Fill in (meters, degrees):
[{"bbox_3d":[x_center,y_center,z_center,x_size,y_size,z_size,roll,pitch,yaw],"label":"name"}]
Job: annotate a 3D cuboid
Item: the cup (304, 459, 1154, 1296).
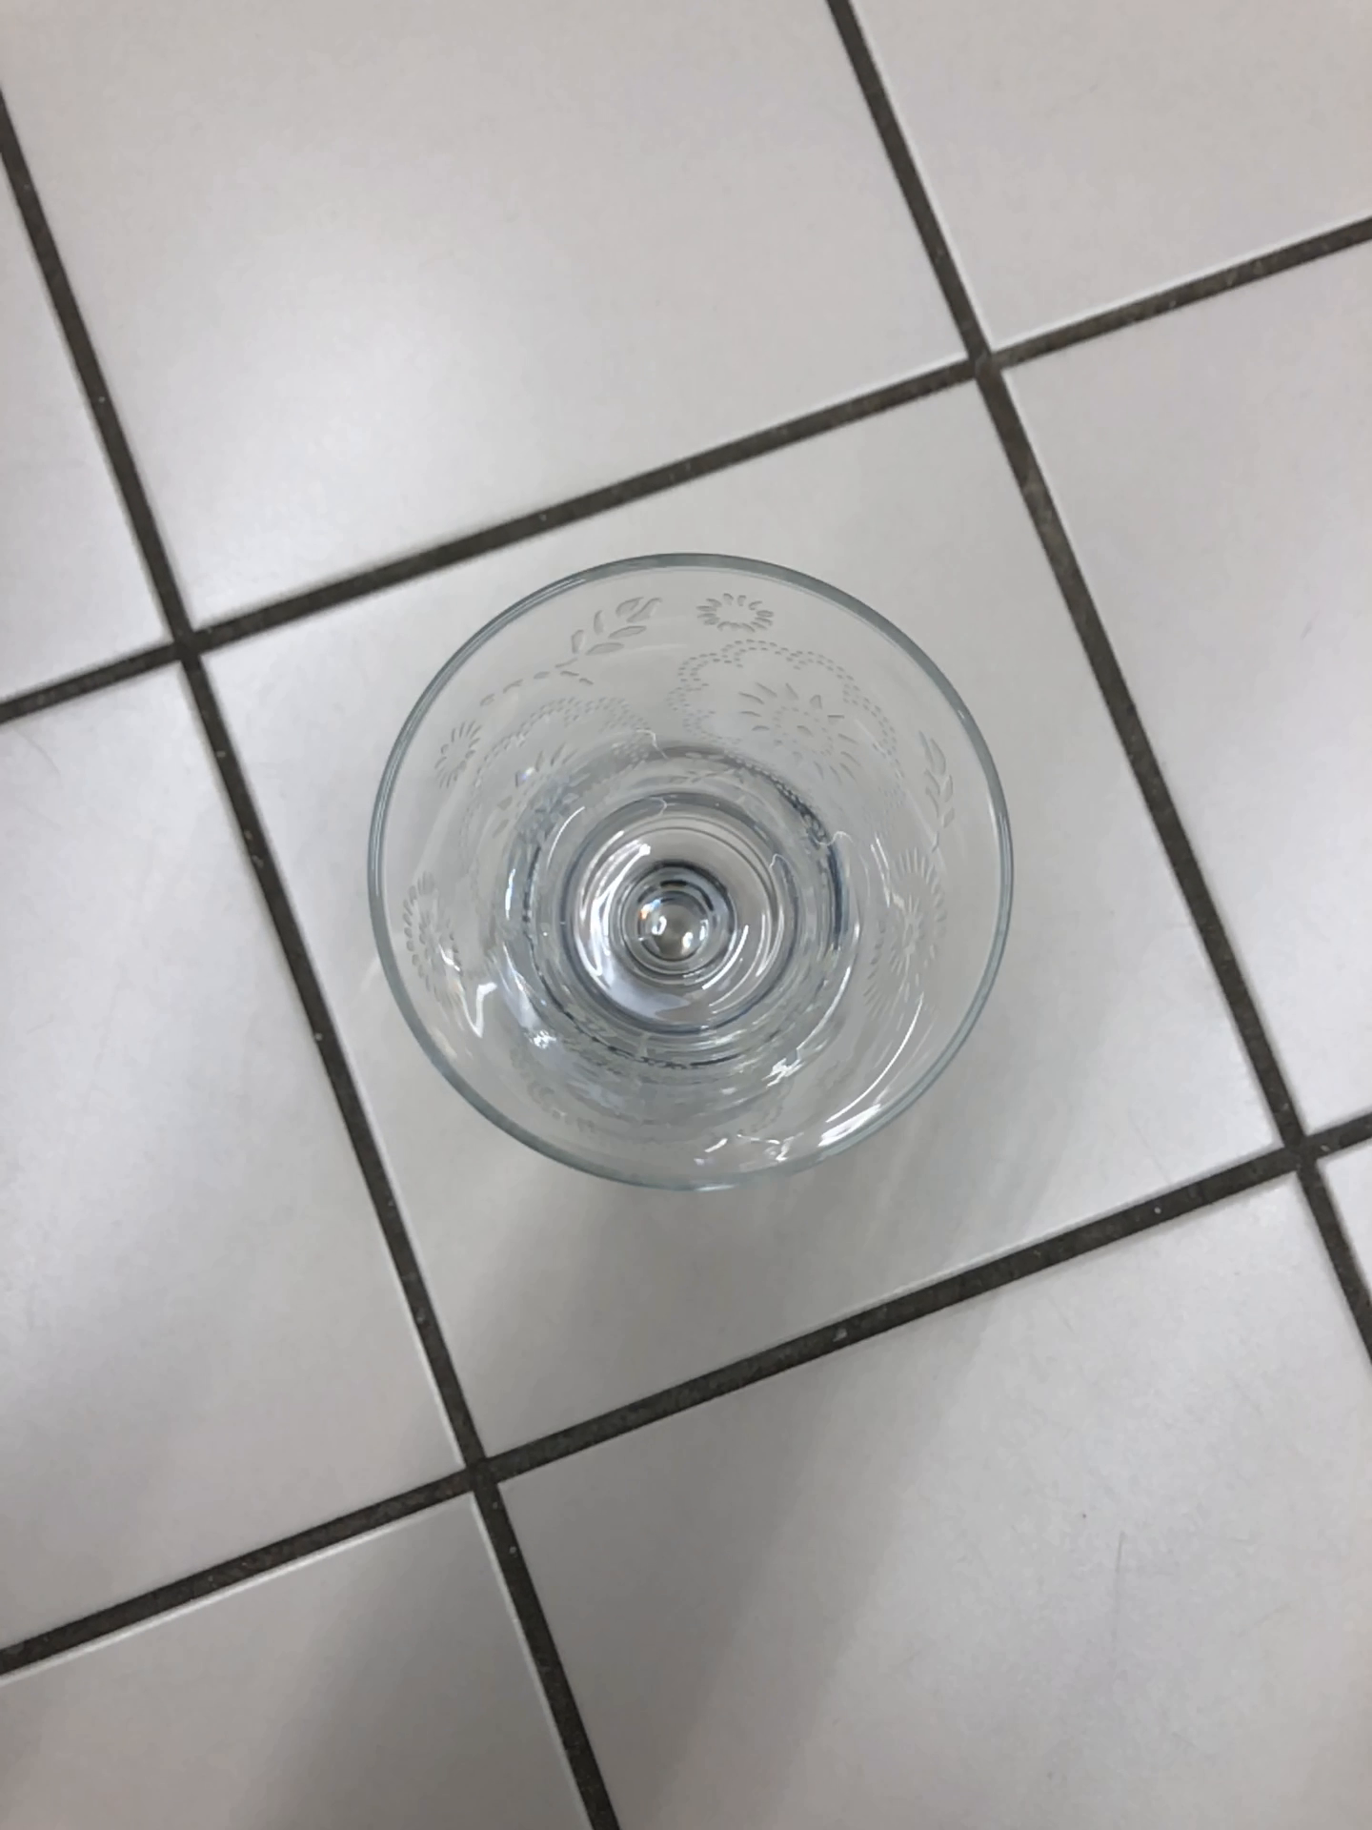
[{"bbox_3d":[0.004,-0.001,0.263,0.095,0.139,0.094,0,85,-1],"label":"cup"}]
